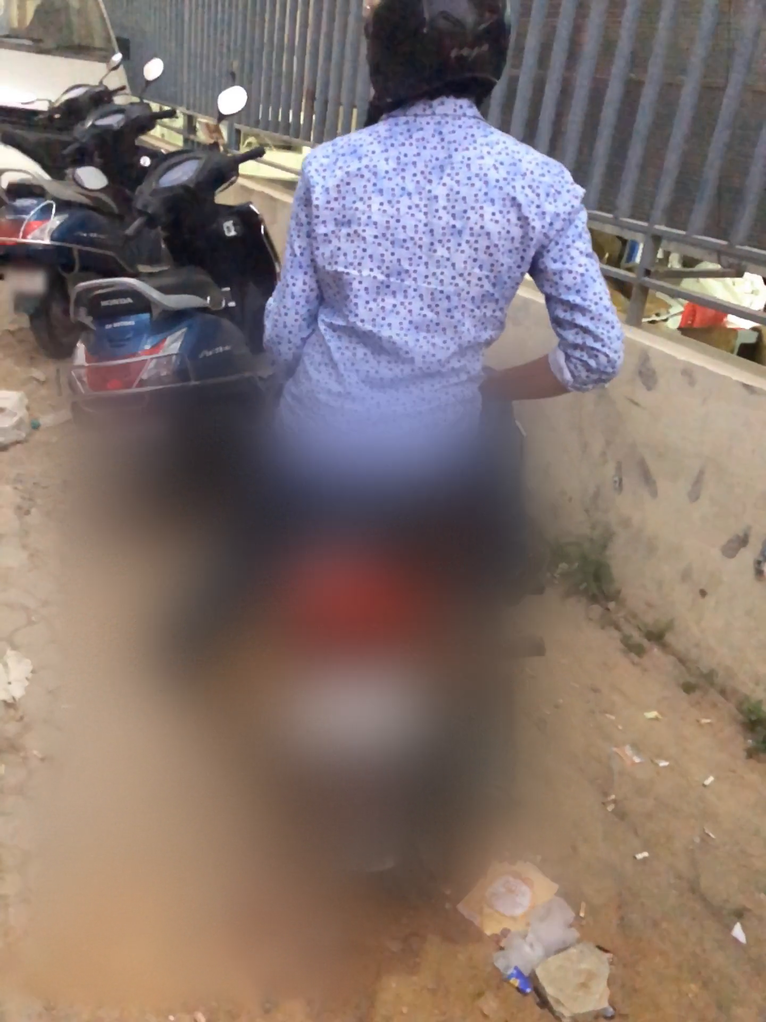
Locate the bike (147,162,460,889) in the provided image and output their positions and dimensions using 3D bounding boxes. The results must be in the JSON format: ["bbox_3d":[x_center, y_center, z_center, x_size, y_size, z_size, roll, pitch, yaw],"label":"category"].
[{"bbox_3d":[-0.187,-0.197,2.039,0.424,0.830,1.661,6,31,-5],"label":"bike"}]
